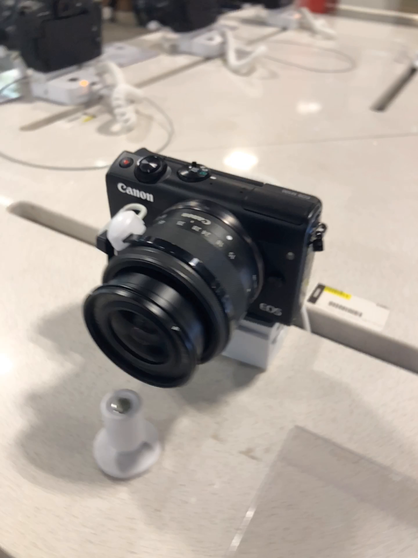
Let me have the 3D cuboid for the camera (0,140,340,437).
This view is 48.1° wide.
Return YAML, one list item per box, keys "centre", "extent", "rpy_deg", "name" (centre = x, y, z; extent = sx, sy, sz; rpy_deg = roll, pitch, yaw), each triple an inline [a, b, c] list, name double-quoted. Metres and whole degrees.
- centre: [-0.019, -0.007, 0.214]
  extent: [0.120, 0.060, 0.090]
  rpy_deg: [21, 41, 23]
  name: "camera"
